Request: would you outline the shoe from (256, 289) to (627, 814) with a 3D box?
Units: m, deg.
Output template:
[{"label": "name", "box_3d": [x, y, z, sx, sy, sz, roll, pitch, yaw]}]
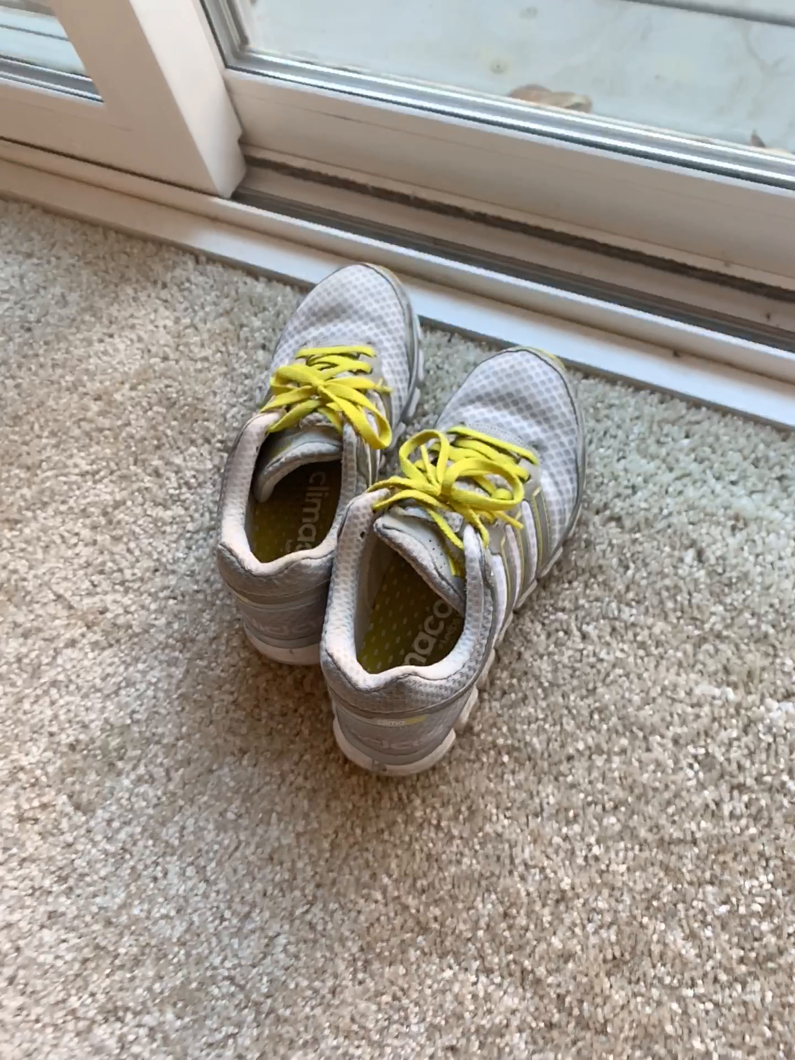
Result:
[{"label": "shoe", "box_3d": [0.031, 0.004, 0.427, 0.090, 0.100, 0.240, 21, 61, 11]}]

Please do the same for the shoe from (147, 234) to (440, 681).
[{"label": "shoe", "box_3d": [-0.044, -0.048, 0.469, 0.090, 0.100, 0.231, 10, 59, 8]}]
